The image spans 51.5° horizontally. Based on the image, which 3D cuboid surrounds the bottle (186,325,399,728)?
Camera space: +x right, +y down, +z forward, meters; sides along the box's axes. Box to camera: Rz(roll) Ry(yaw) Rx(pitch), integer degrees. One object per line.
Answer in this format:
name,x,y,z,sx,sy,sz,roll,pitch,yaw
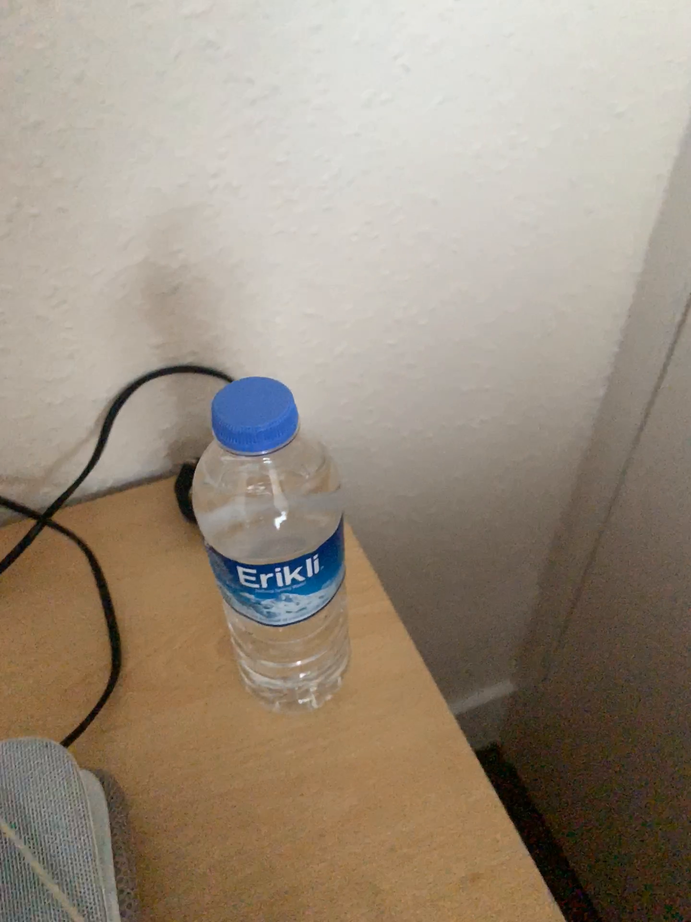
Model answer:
bottle,-0.020,0.040,0.325,0.070,0.188,0.071,0,43,0
